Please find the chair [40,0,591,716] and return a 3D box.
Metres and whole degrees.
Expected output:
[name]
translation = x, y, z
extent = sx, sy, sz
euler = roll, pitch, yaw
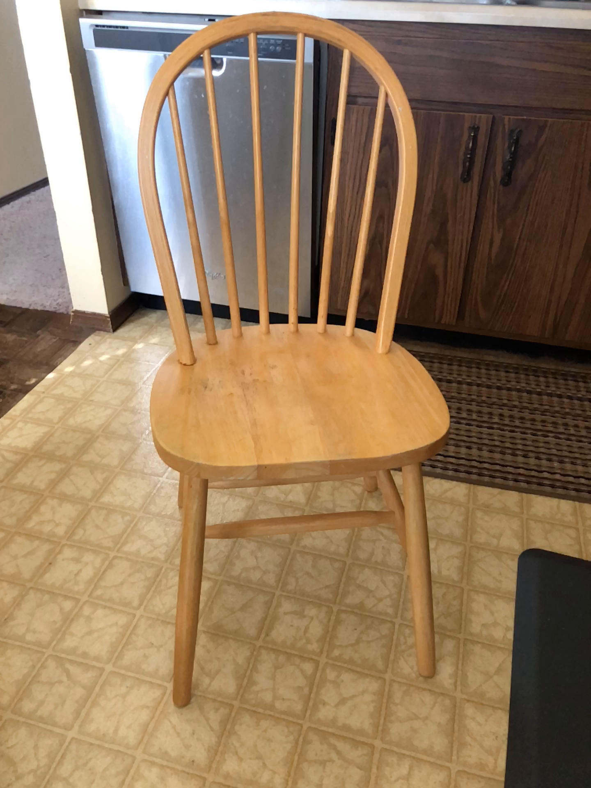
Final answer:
[chair]
translation = -0.010, -0.062, 0.989
extent = 0.460, 0.897, 0.562
euler = -4, 33, -7
